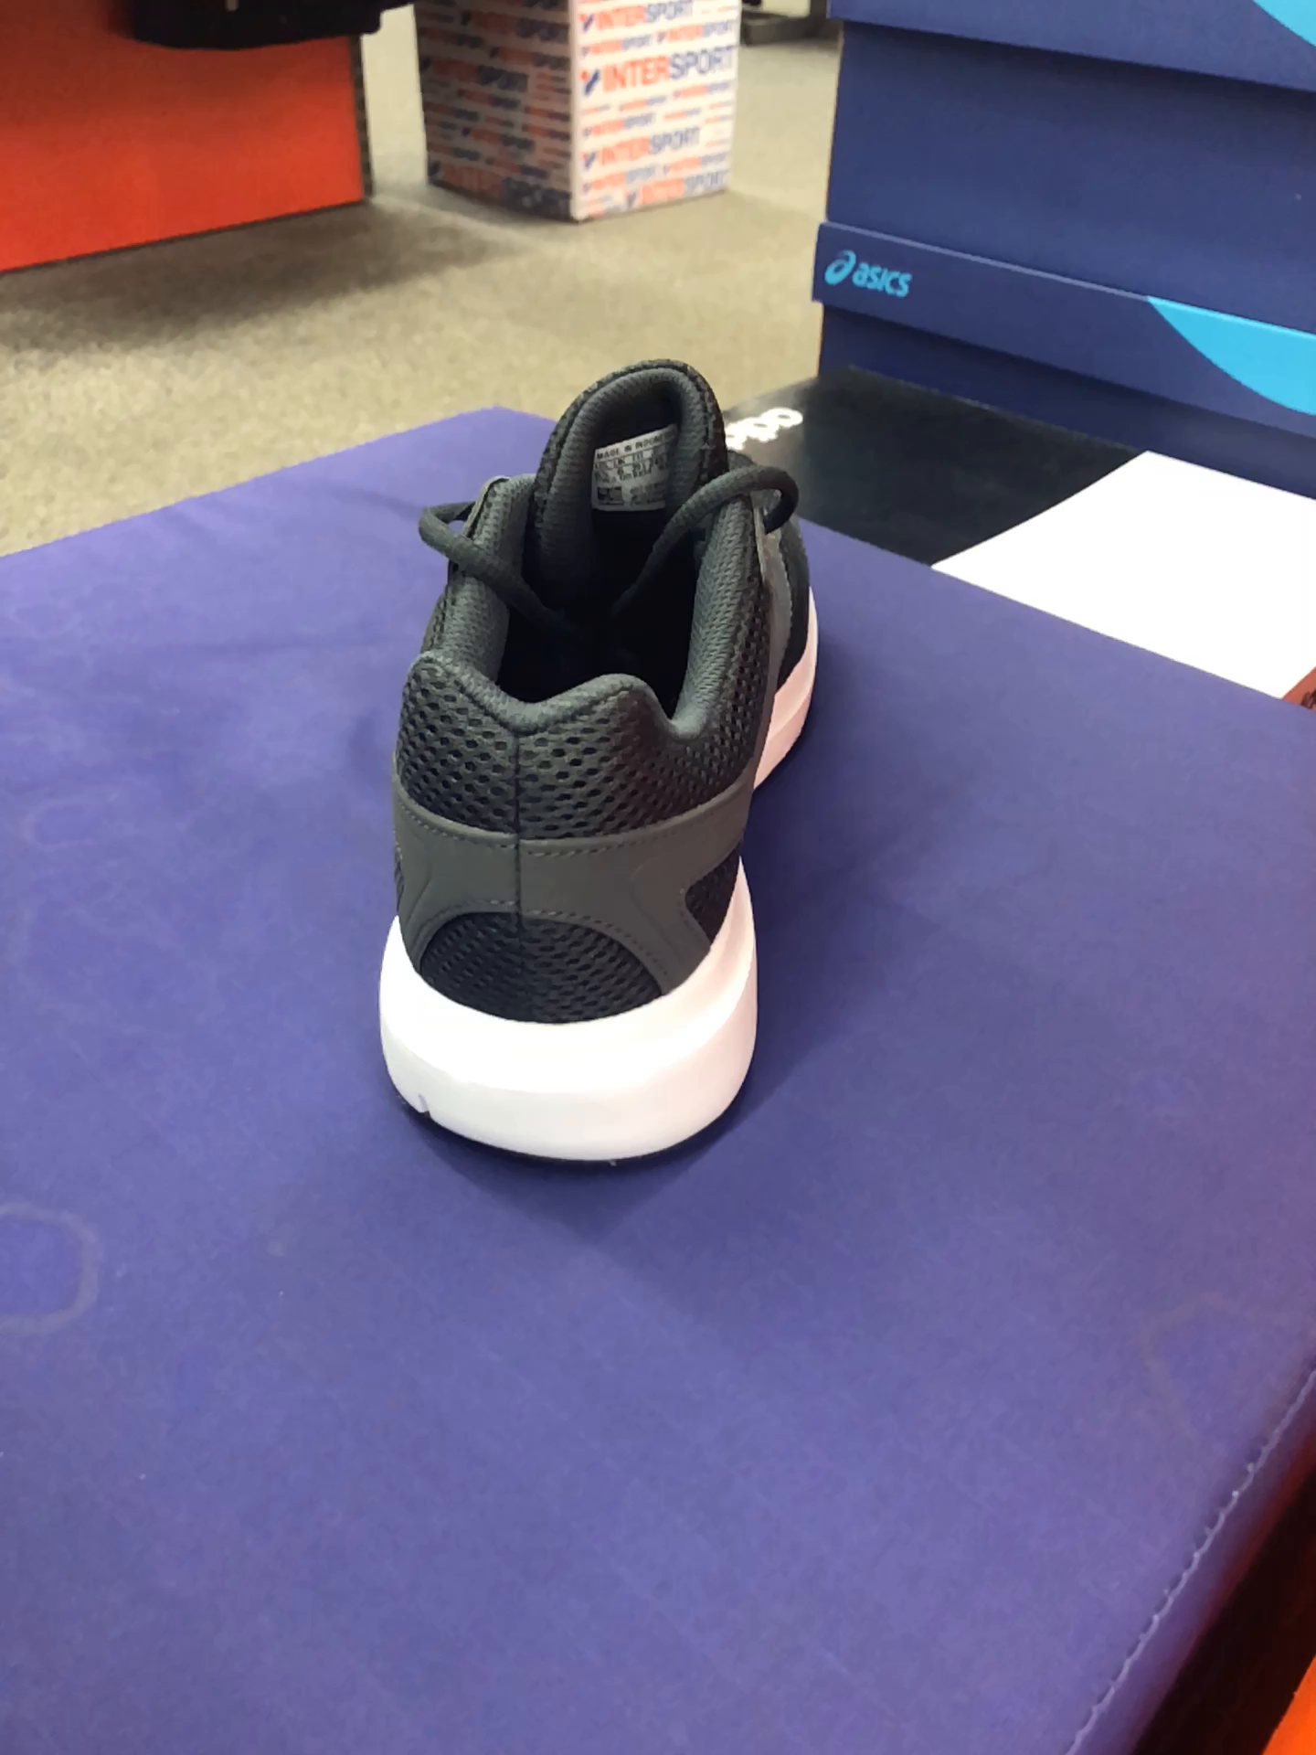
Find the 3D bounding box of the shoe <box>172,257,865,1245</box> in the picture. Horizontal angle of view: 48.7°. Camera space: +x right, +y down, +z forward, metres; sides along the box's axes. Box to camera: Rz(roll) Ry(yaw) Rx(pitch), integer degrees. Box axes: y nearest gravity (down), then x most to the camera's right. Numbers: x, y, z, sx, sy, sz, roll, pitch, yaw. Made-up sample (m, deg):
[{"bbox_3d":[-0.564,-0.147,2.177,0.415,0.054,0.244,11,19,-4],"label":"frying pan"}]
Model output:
[{"bbox_3d":[-0.007,-0.061,0.364,0.101,0.106,0.282,5,37,5],"label":"shoe"}]
